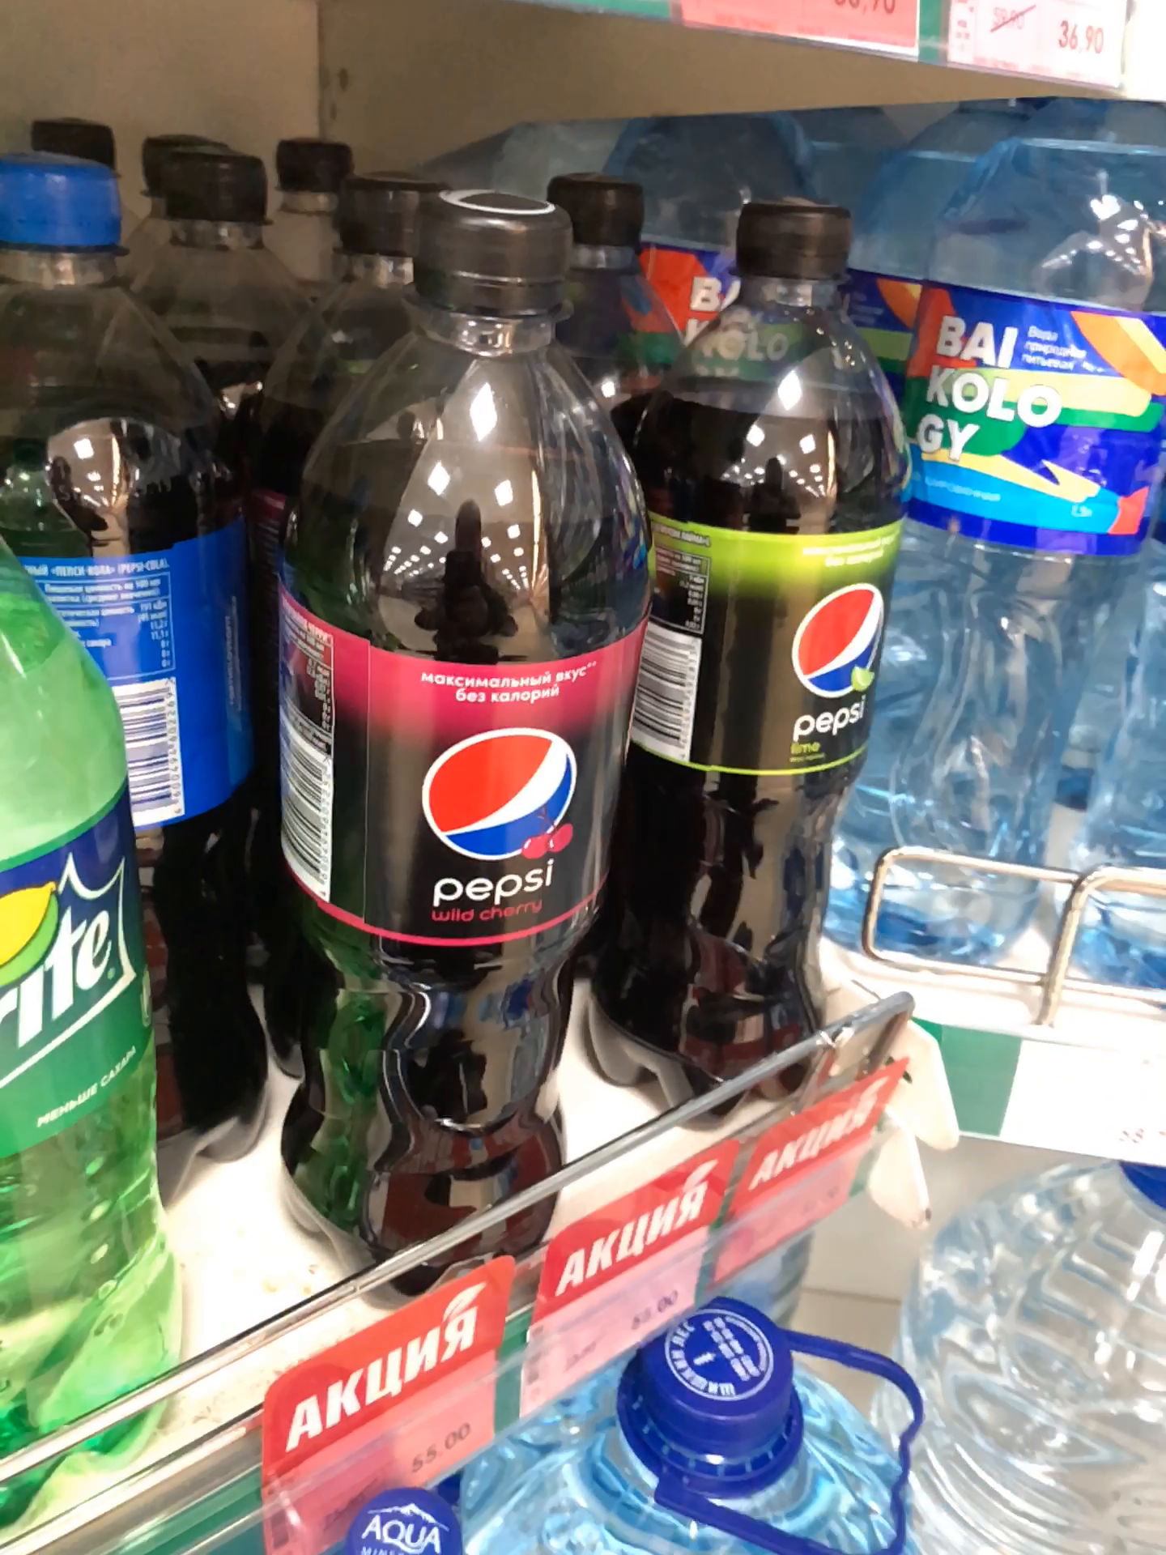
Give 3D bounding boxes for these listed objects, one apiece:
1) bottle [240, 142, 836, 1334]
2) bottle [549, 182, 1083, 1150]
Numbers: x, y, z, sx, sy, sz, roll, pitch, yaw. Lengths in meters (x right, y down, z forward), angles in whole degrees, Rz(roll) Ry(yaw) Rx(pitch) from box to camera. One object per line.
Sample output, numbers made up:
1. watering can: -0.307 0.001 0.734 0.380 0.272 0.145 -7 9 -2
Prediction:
1. bottle: -0.026 0.002 0.301 0.086 0.256 0.077 -8 34 -26
2. bottle: 0.055 -0.027 0.384 0.086 0.263 0.077 -8 29 -26
